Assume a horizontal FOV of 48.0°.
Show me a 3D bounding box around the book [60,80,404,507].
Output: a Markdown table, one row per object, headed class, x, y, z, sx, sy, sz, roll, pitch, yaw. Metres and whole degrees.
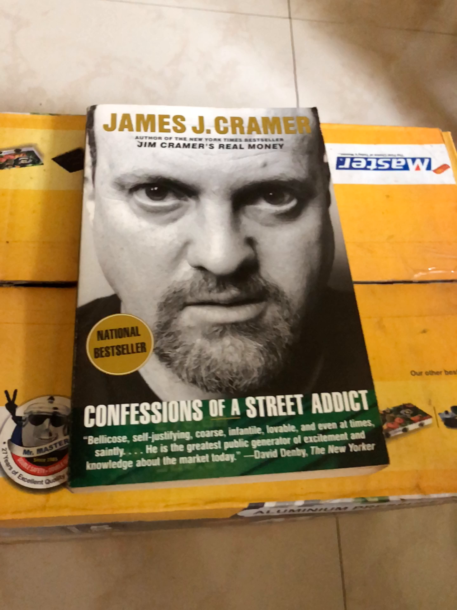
| class | x | y | z | sx | sy | sz | roll | pitch | yaw |
| --- | --- | --- | --- | --- | --- | --- | --- | --- | --- |
| book | -0.007 | -0.024 | 0.271 | 0.140 | 0.030 | 0.230 | -2 | 64 | -8 |
